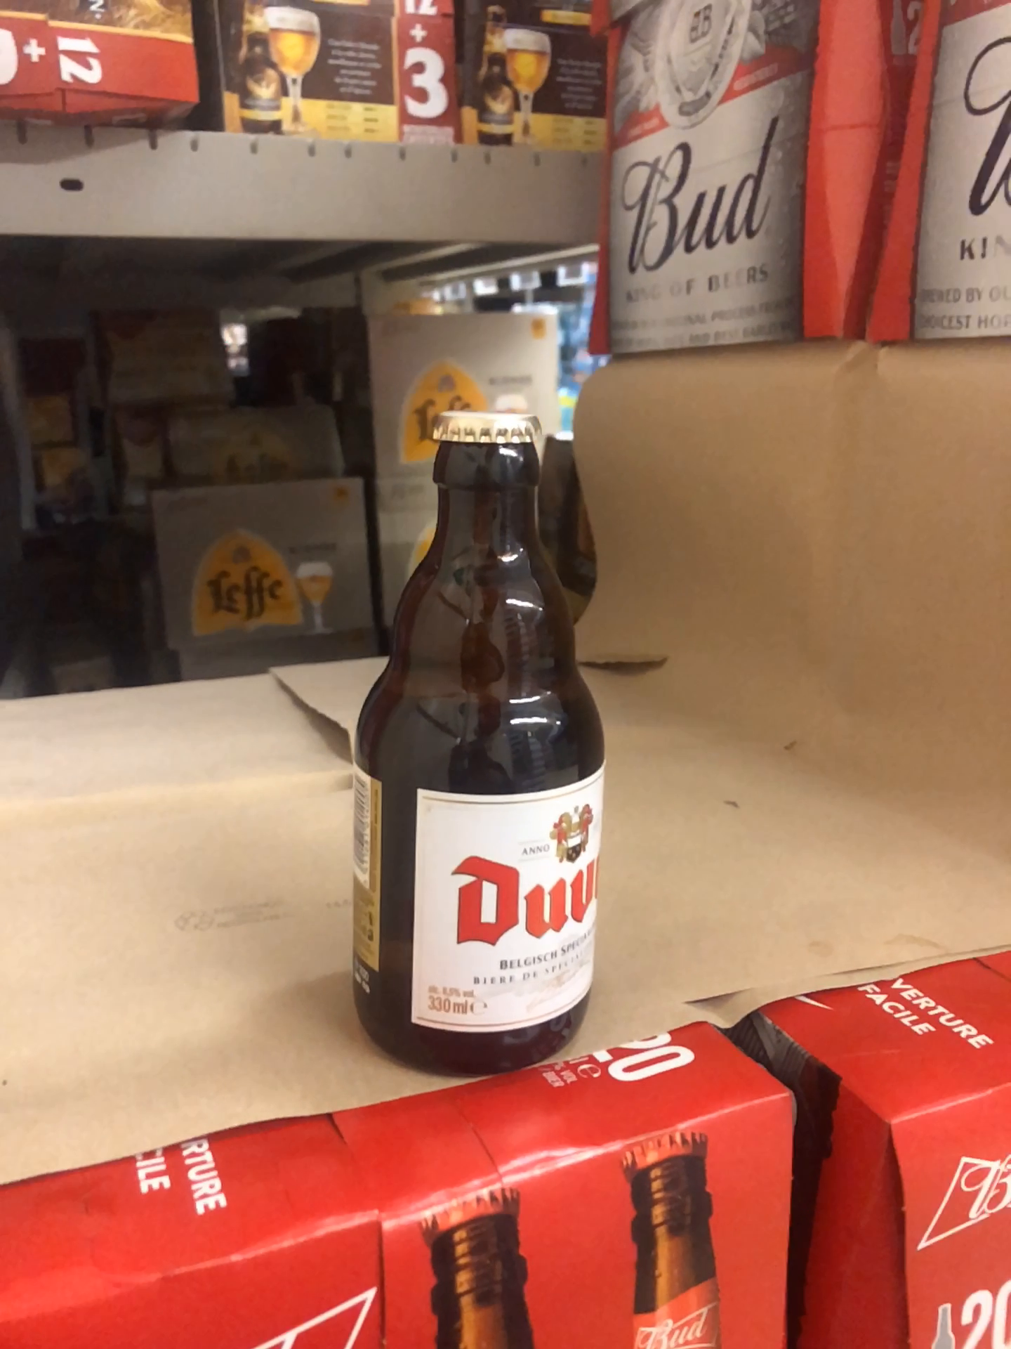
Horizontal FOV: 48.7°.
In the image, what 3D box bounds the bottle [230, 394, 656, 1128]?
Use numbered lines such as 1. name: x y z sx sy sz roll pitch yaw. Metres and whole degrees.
1. bottle: -0.013 0.014 0.300 0.080 0.169 0.070 -14 20 -37
